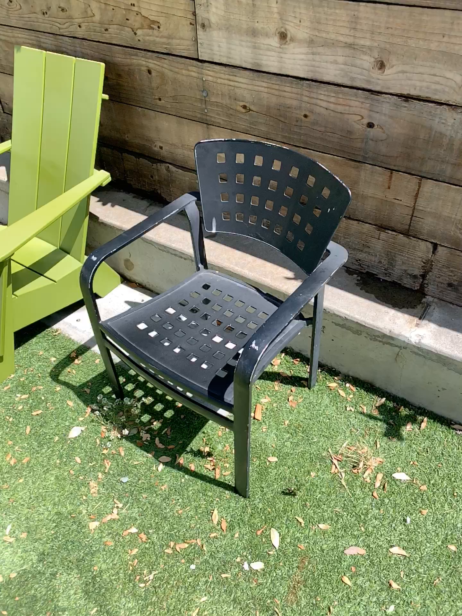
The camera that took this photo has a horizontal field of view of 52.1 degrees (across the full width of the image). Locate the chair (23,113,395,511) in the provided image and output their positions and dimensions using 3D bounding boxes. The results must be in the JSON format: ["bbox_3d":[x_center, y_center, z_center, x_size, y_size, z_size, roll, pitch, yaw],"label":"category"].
[{"bbox_3d":[-0.029,-0.002,1.246,0.592,0.716,0.521,27,52,28],"label":"chair"}]
